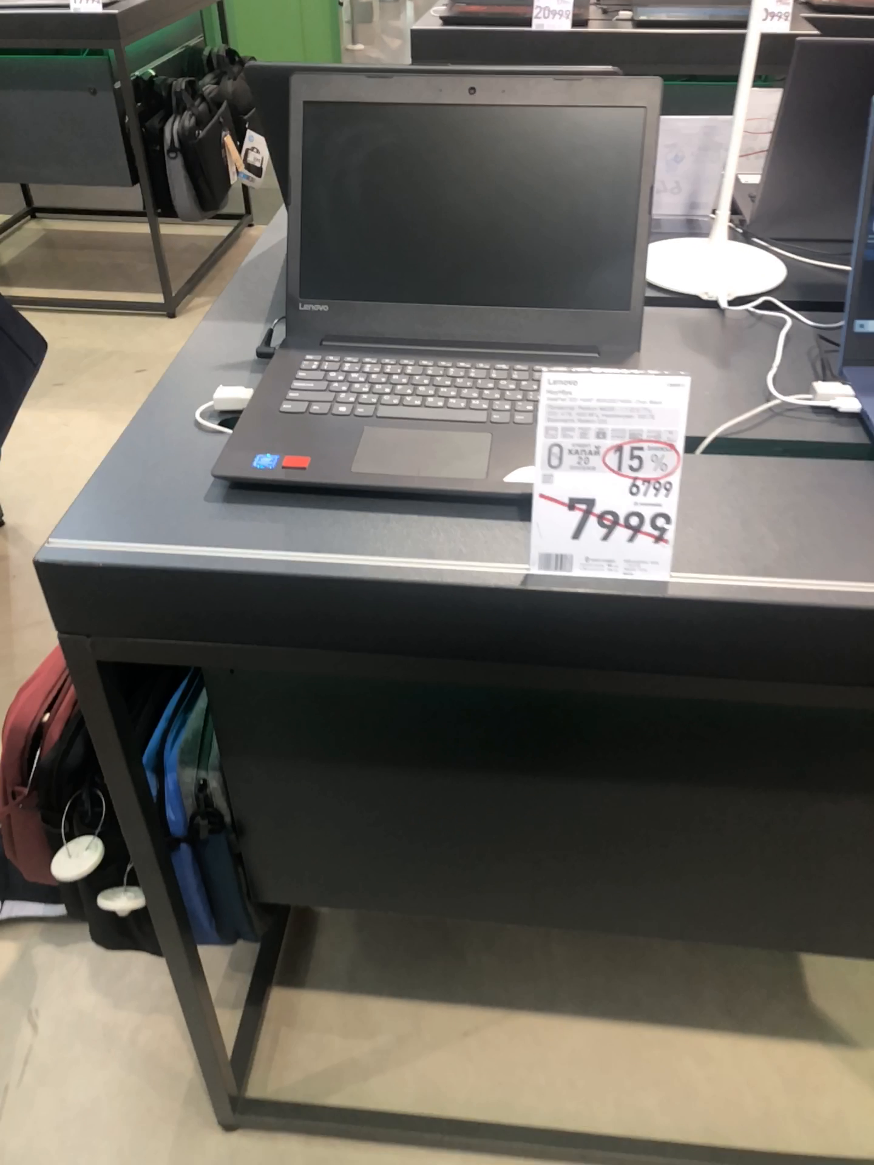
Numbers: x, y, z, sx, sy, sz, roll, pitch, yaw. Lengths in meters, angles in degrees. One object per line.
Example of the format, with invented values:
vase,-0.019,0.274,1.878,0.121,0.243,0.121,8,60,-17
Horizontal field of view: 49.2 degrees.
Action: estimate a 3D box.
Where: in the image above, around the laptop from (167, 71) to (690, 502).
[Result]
laptop,0.010,-0.268,0.800,0.330,0.205,0.363,3,40,5
